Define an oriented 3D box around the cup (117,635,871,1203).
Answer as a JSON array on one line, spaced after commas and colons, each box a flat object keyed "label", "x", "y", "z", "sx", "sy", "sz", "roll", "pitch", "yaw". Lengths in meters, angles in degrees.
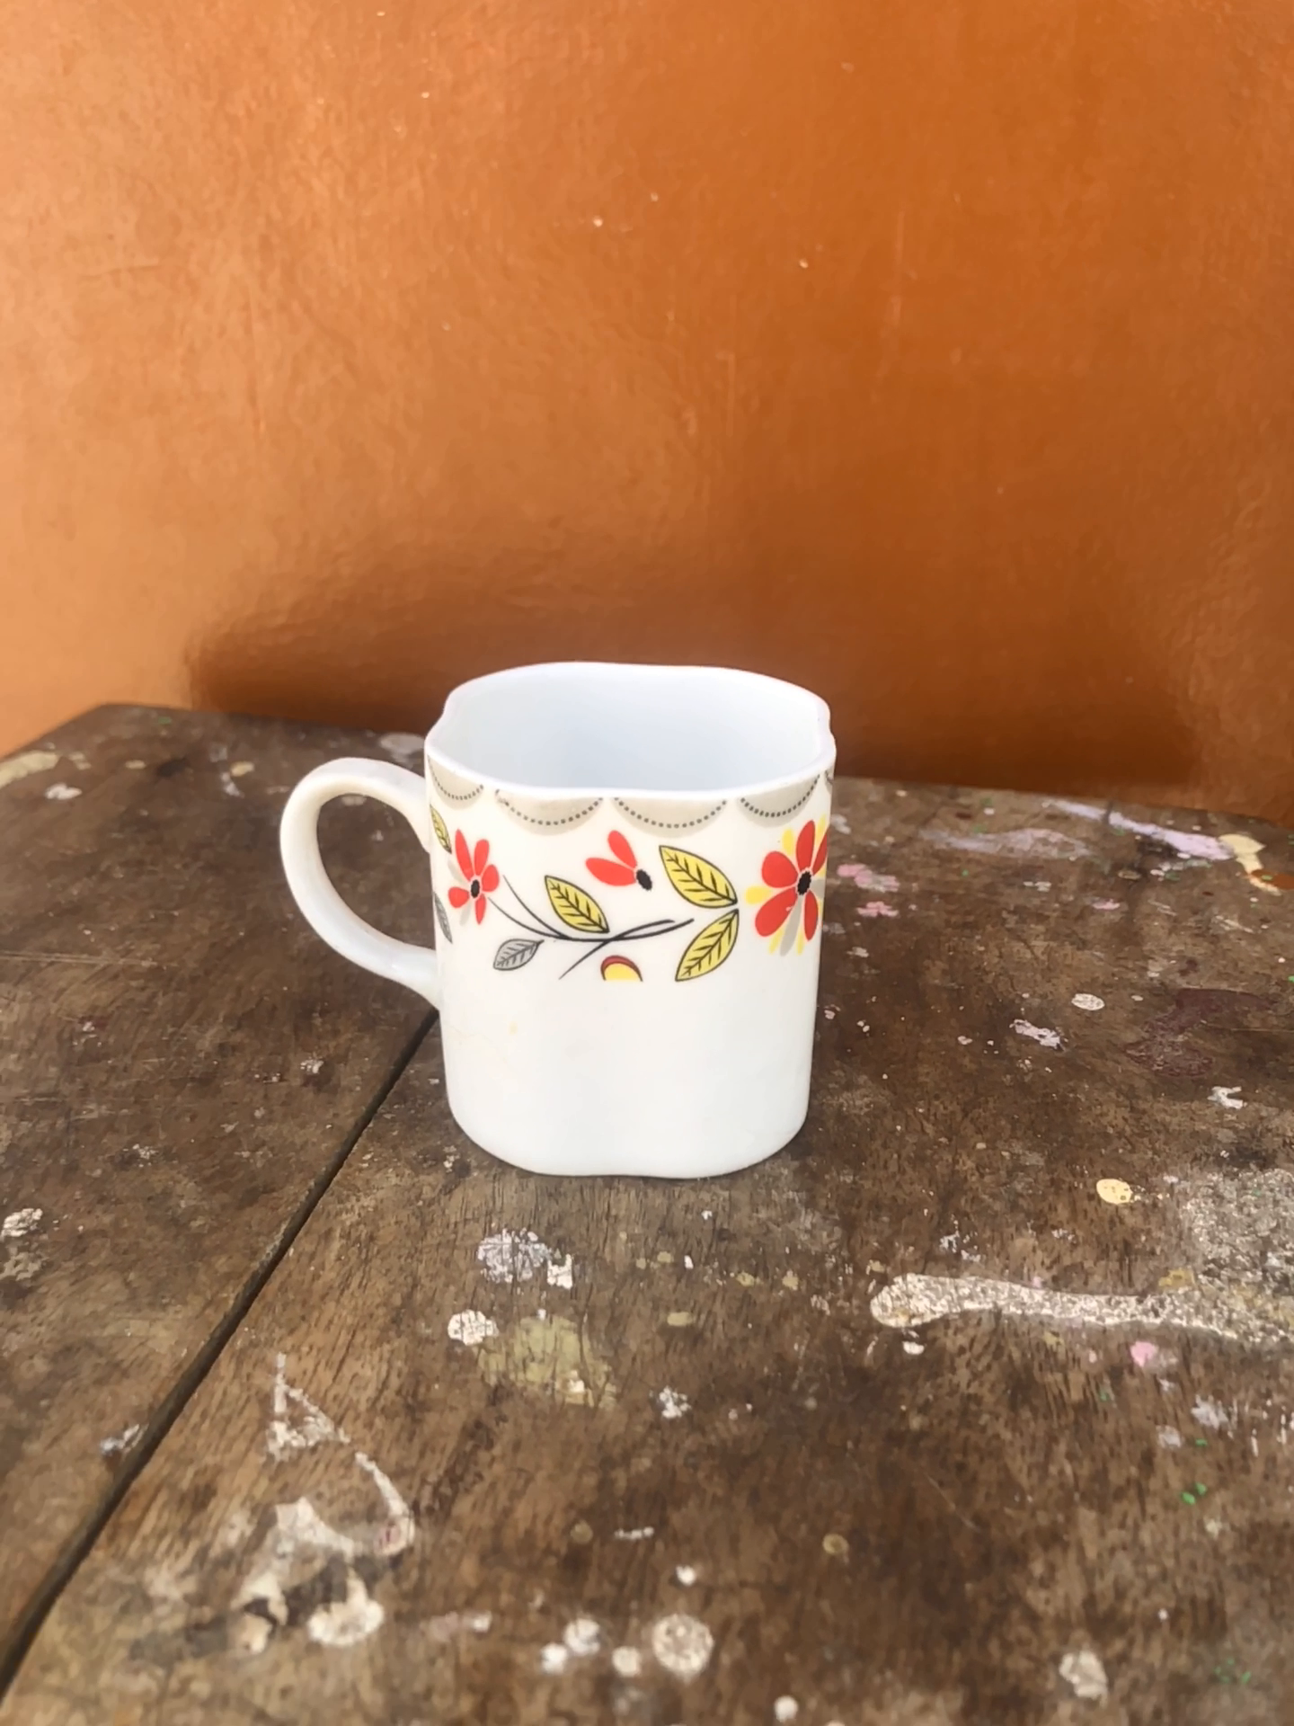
[{"label": "cup", "x": -0.017, "y": 0.004, "z": 0.210, "sx": 0.090, "sy": 0.060, "sz": 0.060, "roll": 2, "pitch": 21, "yaw": 3}]
